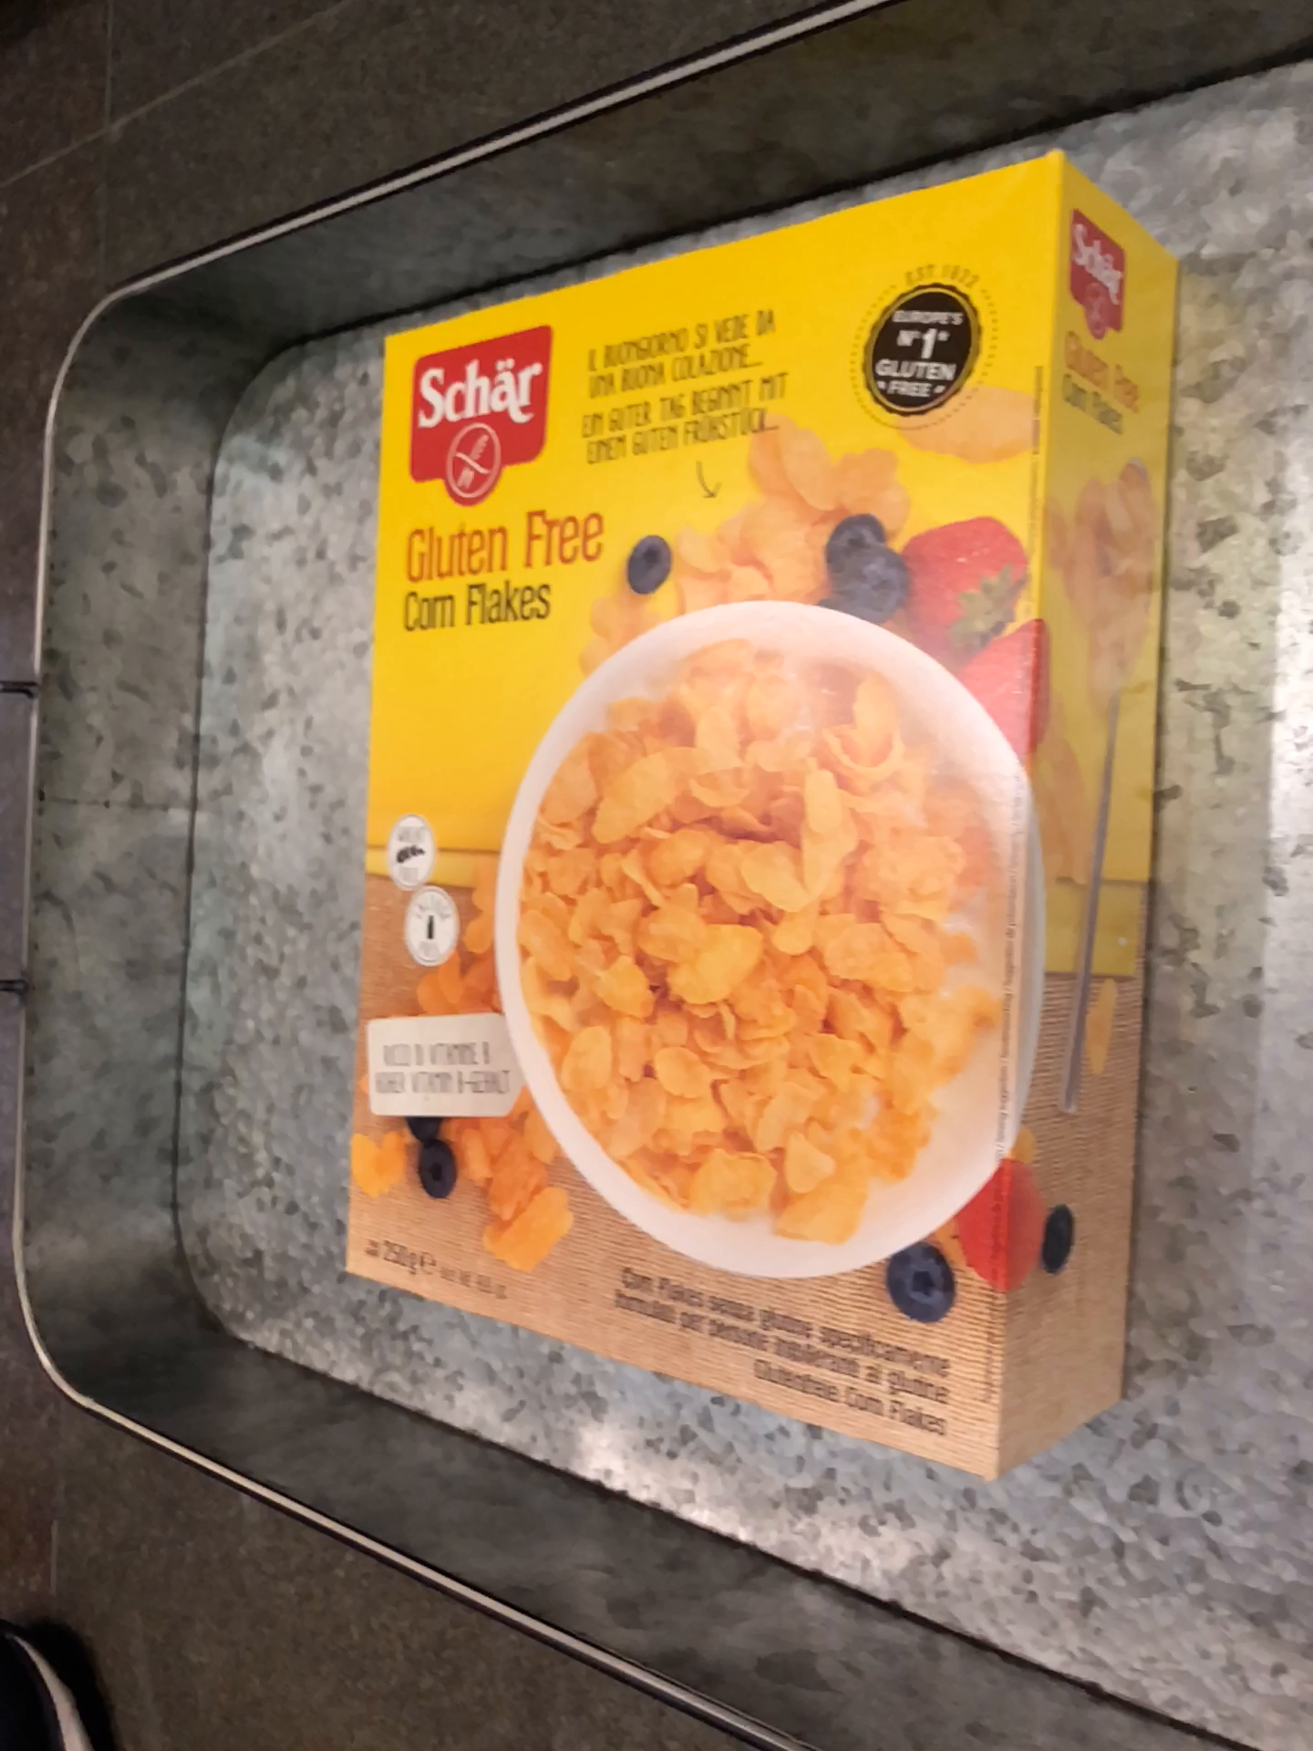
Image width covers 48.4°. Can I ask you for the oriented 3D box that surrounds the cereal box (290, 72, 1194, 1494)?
[{"bbox_3d":[0.009,-0.019,0.347,0.201,0.070,0.250,3,91,39],"label":"cereal box"}]
